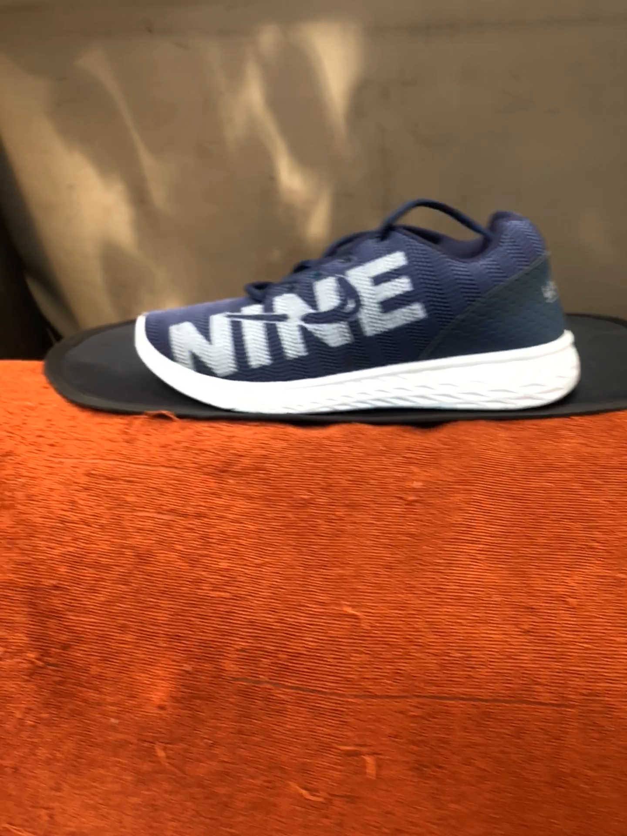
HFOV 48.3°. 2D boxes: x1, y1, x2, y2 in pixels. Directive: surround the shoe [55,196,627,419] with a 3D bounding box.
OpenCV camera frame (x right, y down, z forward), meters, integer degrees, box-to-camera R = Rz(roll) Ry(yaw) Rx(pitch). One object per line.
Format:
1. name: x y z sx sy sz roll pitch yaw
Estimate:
1. shoe: 0.019 -0.070 0.423 0.290 0.100 0.131 -1 19 11
